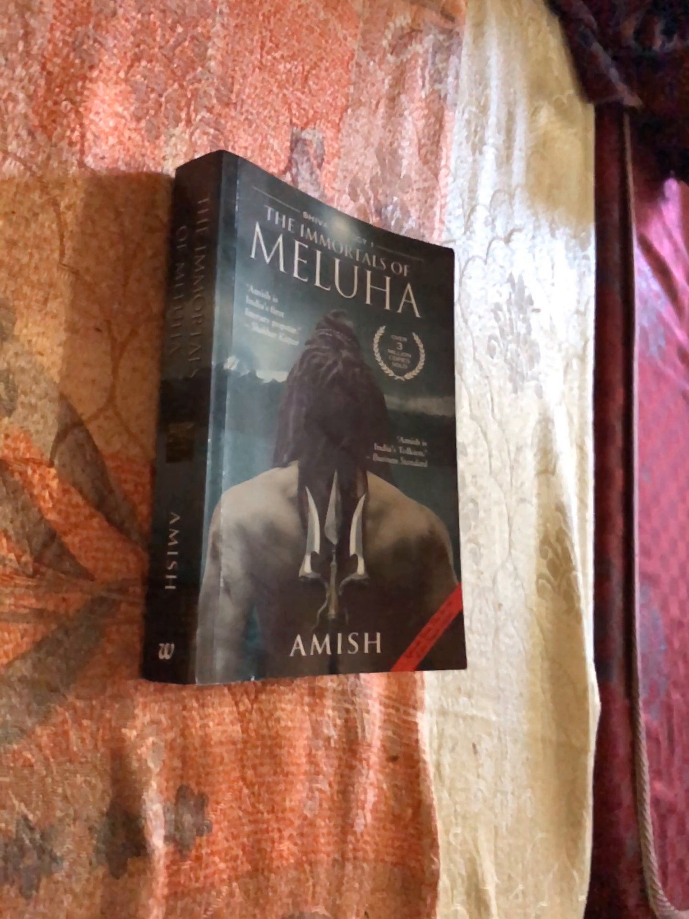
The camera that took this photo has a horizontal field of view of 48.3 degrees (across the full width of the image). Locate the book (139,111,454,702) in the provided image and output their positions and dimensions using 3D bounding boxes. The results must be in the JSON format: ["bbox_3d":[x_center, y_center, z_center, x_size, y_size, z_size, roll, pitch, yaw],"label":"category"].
[{"bbox_3d":[-0.011,-0.013,0.314,0.131,0.040,0.200,11,75,-47],"label":"book"}]
